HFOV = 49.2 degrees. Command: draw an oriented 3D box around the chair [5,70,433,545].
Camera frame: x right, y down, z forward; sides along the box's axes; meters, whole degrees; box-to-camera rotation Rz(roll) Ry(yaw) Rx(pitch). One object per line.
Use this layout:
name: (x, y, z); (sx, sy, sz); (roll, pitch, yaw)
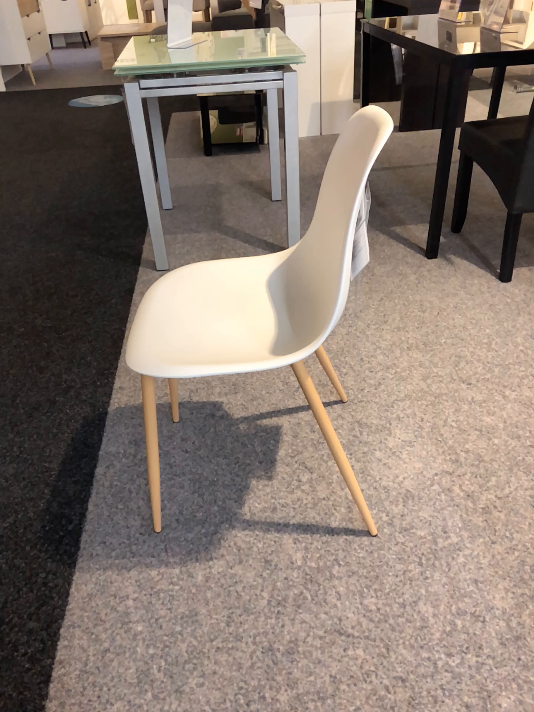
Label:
chair: (-0.049, -0.104, 1.289); (0.600, 0.845, 0.573); (-3, 34, 1)
